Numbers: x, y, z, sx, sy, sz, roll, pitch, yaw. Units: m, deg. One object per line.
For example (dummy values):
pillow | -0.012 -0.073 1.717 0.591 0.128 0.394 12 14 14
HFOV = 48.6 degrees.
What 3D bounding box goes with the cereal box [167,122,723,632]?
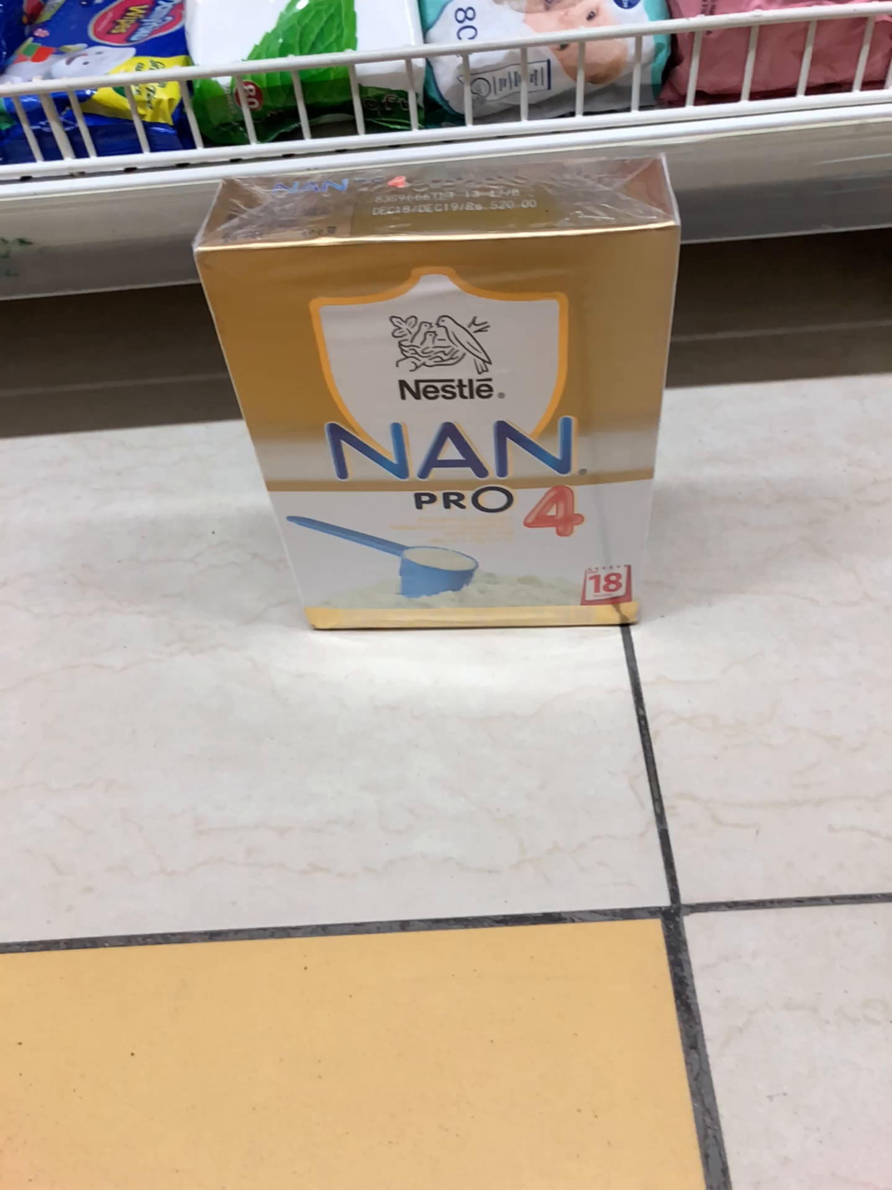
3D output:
cereal box | 0.005 -0.066 0.370 0.160 0.189 0.050 -1 49 4
